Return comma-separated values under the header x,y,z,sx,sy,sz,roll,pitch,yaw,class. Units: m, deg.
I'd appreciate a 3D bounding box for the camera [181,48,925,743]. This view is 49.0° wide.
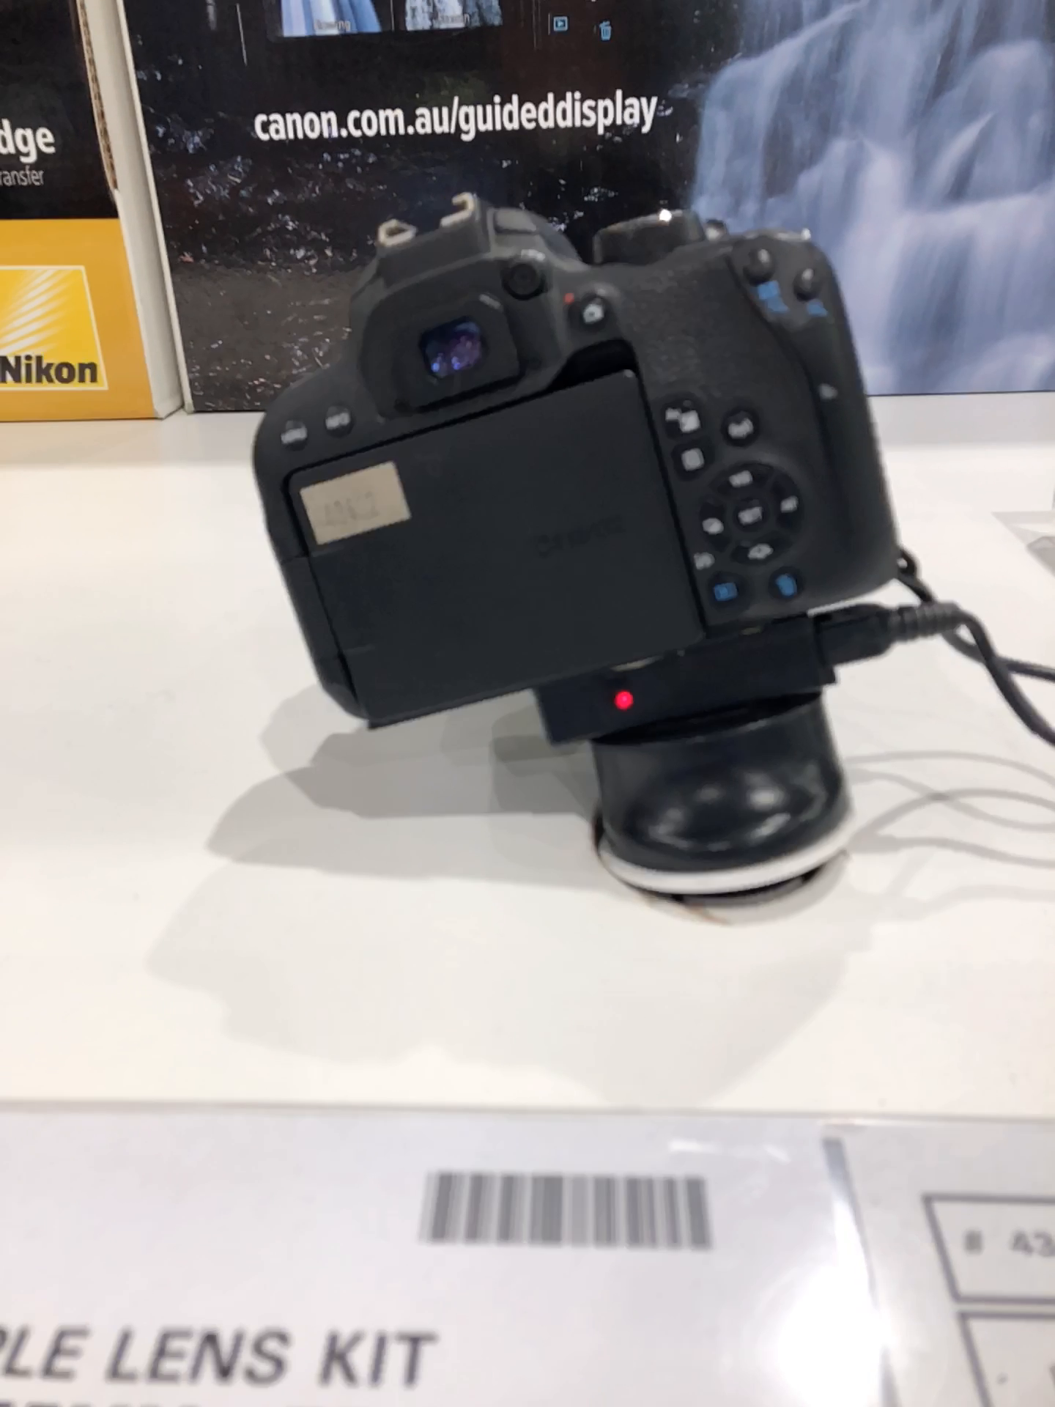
x,y,z,sx,sy,sz,roll,pitch,yaw,class
0.009,-0.065,0.272,0.130,0.105,0.070,-15,9,12,camera
